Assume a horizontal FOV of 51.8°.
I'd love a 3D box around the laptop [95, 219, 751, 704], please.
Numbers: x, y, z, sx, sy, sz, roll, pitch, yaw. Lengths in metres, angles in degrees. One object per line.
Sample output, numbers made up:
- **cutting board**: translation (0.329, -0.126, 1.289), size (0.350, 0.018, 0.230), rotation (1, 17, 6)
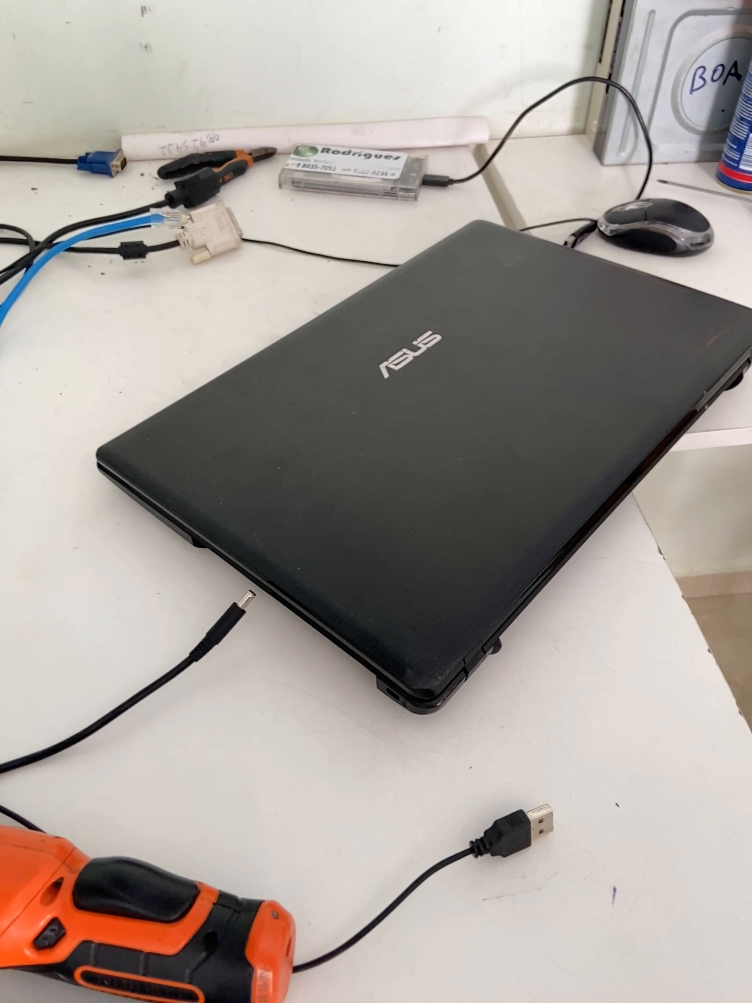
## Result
- **laptop**: translation (0.054, -0.074, 0.500), size (0.253, 0.010, 0.382), rotation (31, 54, 30)
